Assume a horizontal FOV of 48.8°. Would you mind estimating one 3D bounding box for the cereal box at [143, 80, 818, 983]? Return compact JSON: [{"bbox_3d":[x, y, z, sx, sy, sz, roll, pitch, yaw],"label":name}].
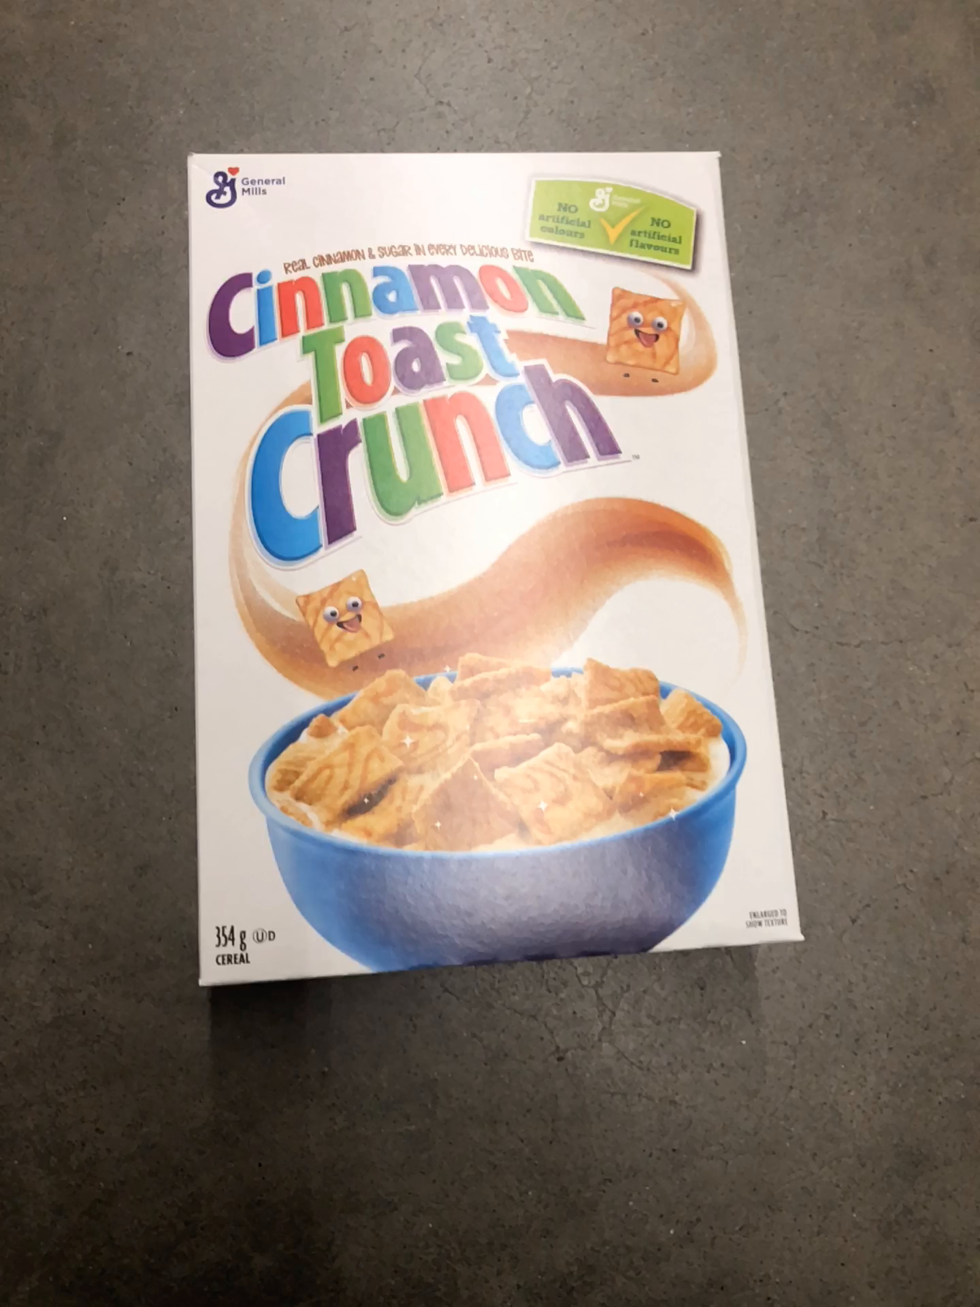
[{"bbox_3d":[-0.009,-0.047,0.380,0.200,0.060,0.290,-3,82,-4],"label":"cereal box"}]
